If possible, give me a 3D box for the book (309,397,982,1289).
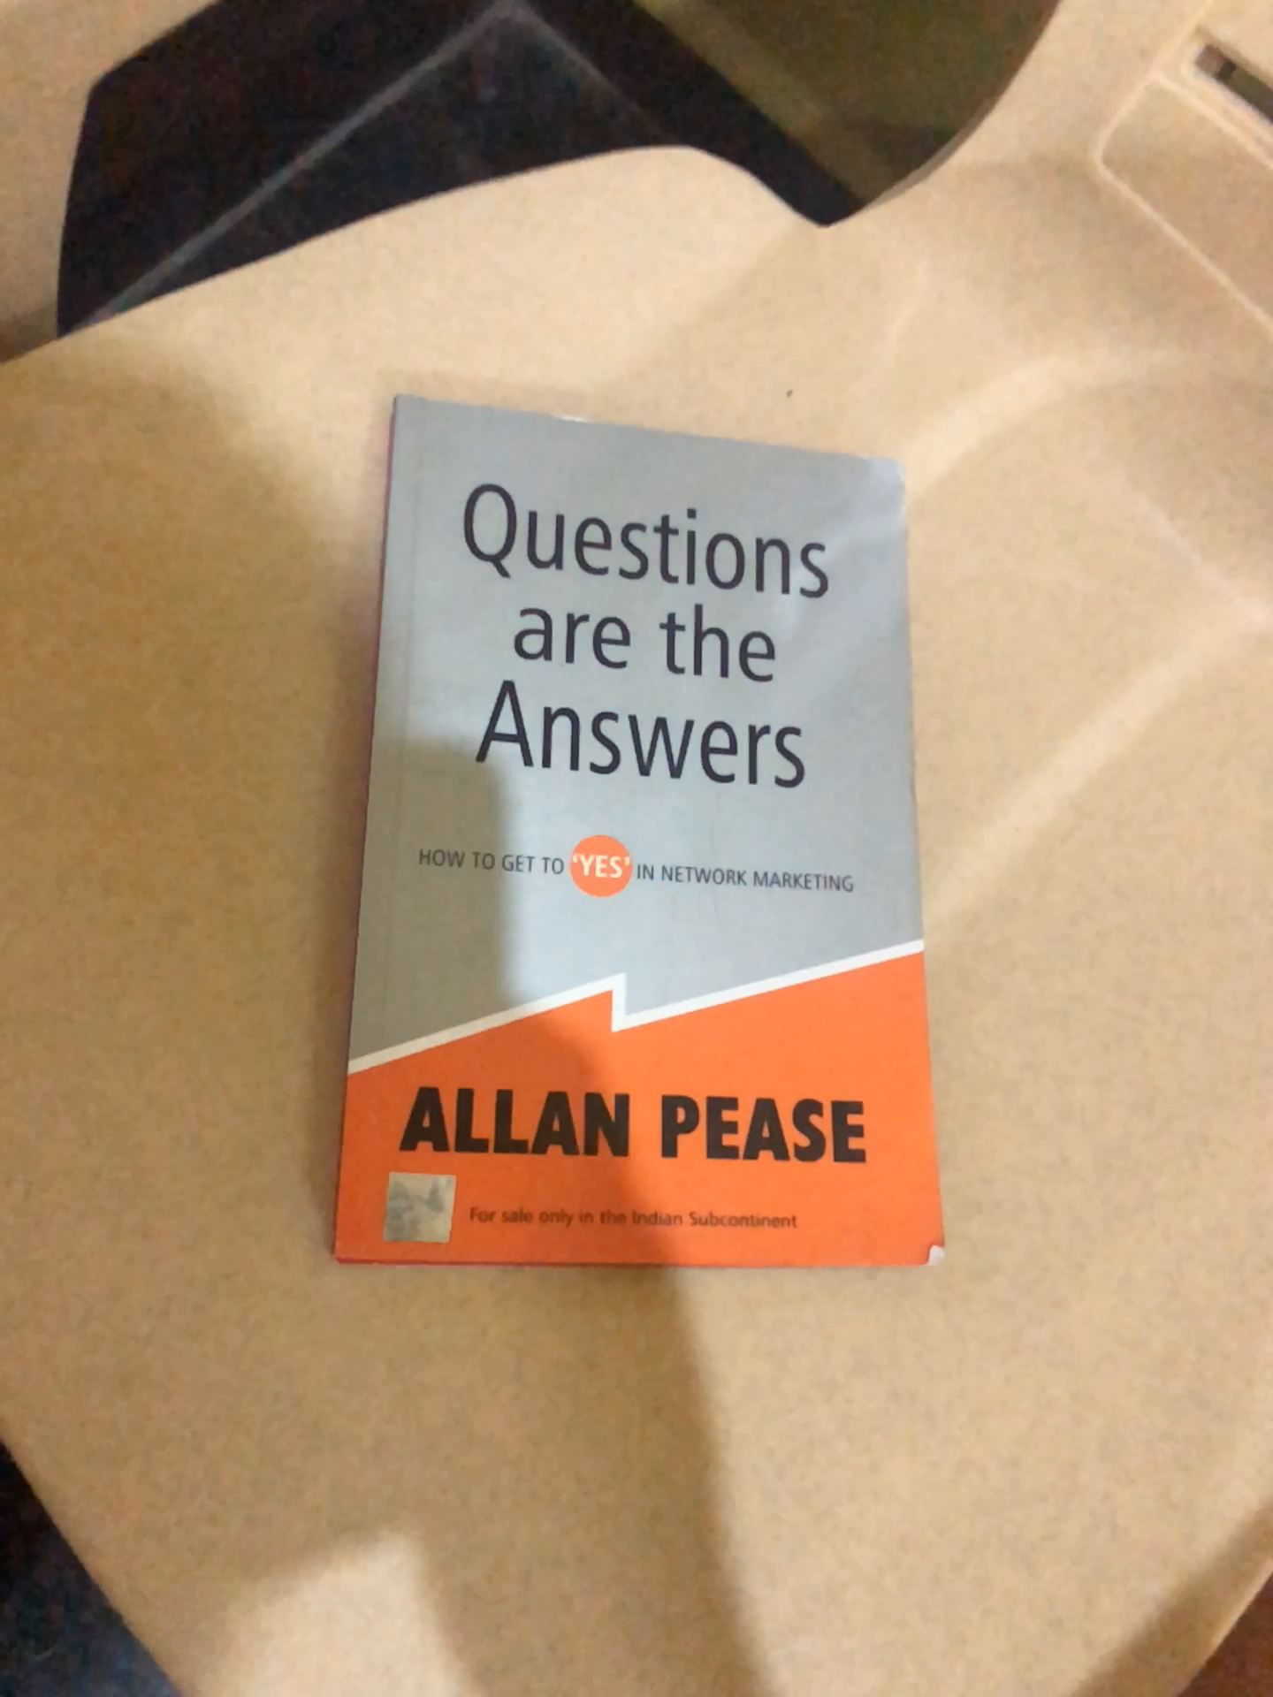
[{"bbox_3d":[0.005,-0.003,0.345,0.150,0.020,0.210,3,76,-9],"label":"book"}]
